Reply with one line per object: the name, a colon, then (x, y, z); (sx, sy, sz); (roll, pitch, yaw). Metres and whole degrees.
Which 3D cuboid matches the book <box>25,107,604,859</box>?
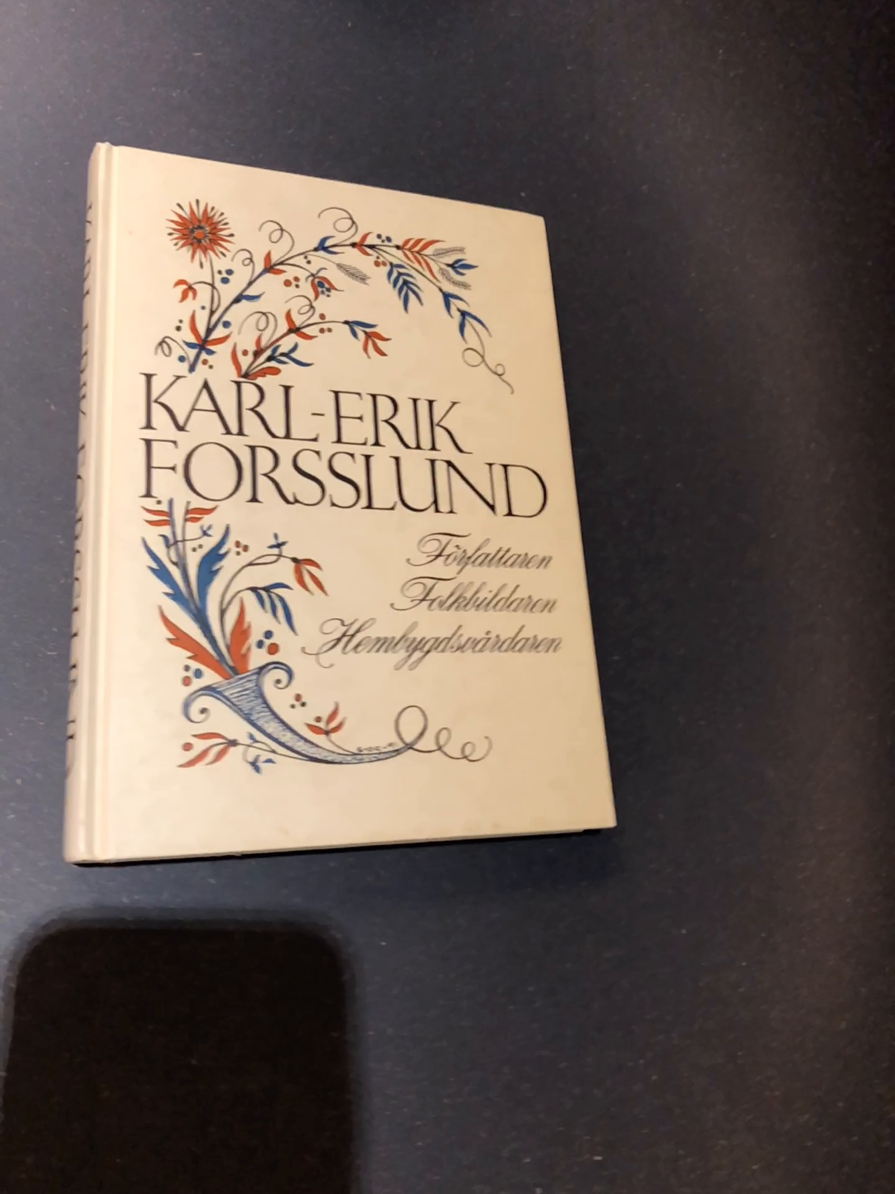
book: (-0.042, -0.040, 0.326); (0.164, 0.028, 0.232); (1, 73, -19)
